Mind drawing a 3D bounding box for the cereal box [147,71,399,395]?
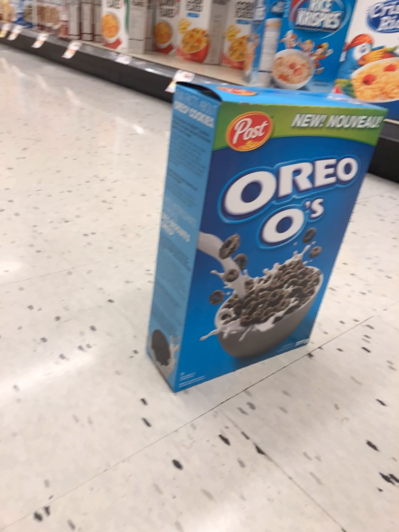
[{"bbox_3d":[0.064,-0.028,0.417,0.200,0.268,0.060,-10,33,-32],"label":"cereal box"}]
